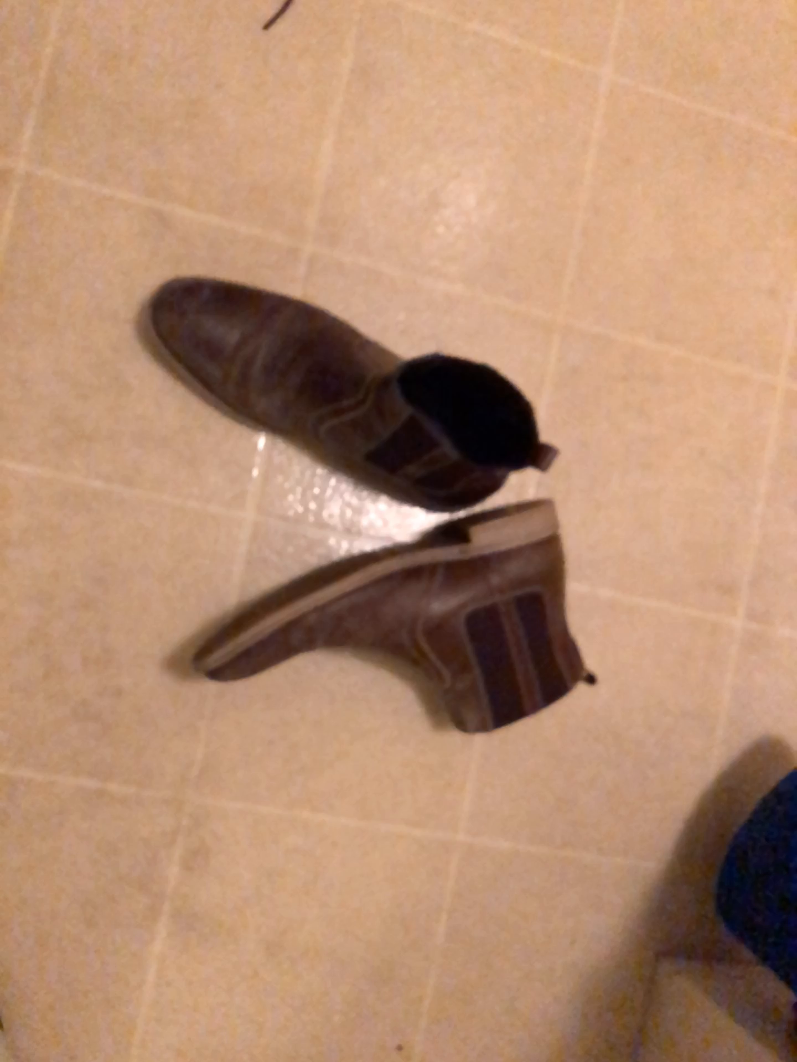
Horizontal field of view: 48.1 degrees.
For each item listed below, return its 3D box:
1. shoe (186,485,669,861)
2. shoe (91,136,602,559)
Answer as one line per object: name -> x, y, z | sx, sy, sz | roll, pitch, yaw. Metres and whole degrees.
shoe -> 0.018, 0.093, 0.676 | 0.313, 0.111, 0.161 | -19, 94, -12
shoe -> -0.040, -0.109, 0.641 | 0.313, 0.161, 0.111 | 32, 82, -10
